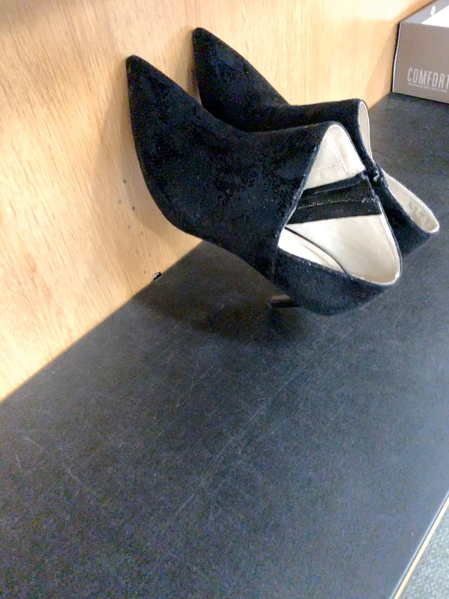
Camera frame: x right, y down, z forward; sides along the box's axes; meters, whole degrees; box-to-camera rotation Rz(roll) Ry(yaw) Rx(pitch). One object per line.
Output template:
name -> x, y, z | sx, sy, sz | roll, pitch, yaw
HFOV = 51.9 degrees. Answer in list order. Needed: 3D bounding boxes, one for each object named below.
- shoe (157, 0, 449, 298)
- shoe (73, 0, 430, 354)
shoe -> 0.077, -0.148, 0.435 | 0.111, 0.279, 0.120 | -39, 12, -18
shoe -> 0.019, -0.094, 0.378 | 0.101, 0.269, 0.140 | -43, 13, -28
